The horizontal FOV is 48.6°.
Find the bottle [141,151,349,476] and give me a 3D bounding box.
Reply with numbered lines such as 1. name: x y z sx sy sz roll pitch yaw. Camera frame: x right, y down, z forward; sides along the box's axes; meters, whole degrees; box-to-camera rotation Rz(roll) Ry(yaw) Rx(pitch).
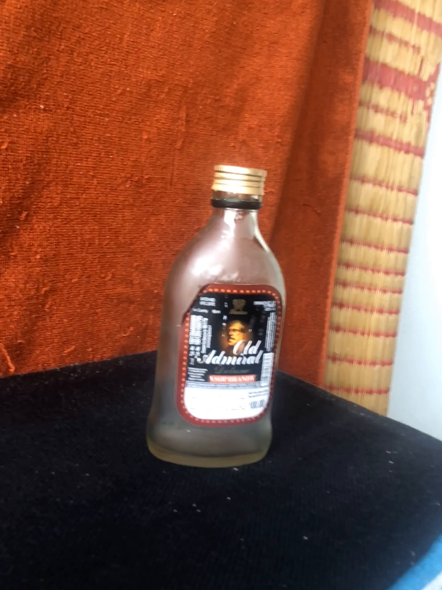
1. bottle: 0.006 0.010 0.249 0.070 0.150 0.050 6 13 -16
